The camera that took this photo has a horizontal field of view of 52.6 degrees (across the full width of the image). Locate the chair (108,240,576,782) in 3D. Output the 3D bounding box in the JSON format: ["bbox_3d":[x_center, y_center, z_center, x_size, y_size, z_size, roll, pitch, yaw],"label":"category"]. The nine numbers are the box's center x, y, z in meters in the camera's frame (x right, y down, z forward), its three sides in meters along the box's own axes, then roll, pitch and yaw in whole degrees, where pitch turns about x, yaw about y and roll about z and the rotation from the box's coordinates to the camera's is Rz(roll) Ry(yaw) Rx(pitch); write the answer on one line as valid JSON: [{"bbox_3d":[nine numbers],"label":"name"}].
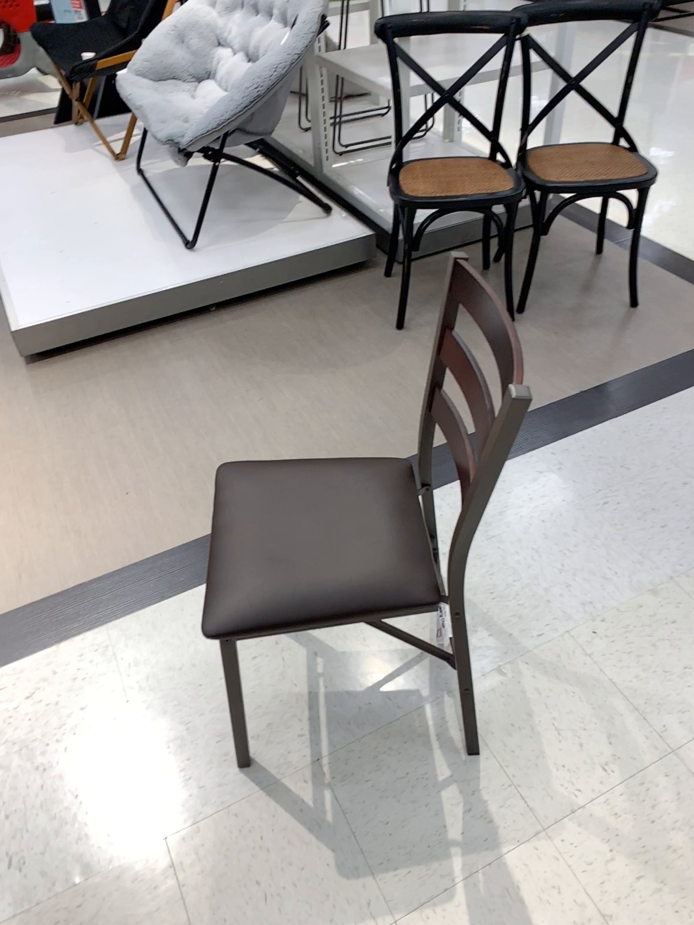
[{"bbox_3d":[0.002,0.124,1.217,0.520,0.826,0.442,-5,42,-1],"label":"chair"}]
